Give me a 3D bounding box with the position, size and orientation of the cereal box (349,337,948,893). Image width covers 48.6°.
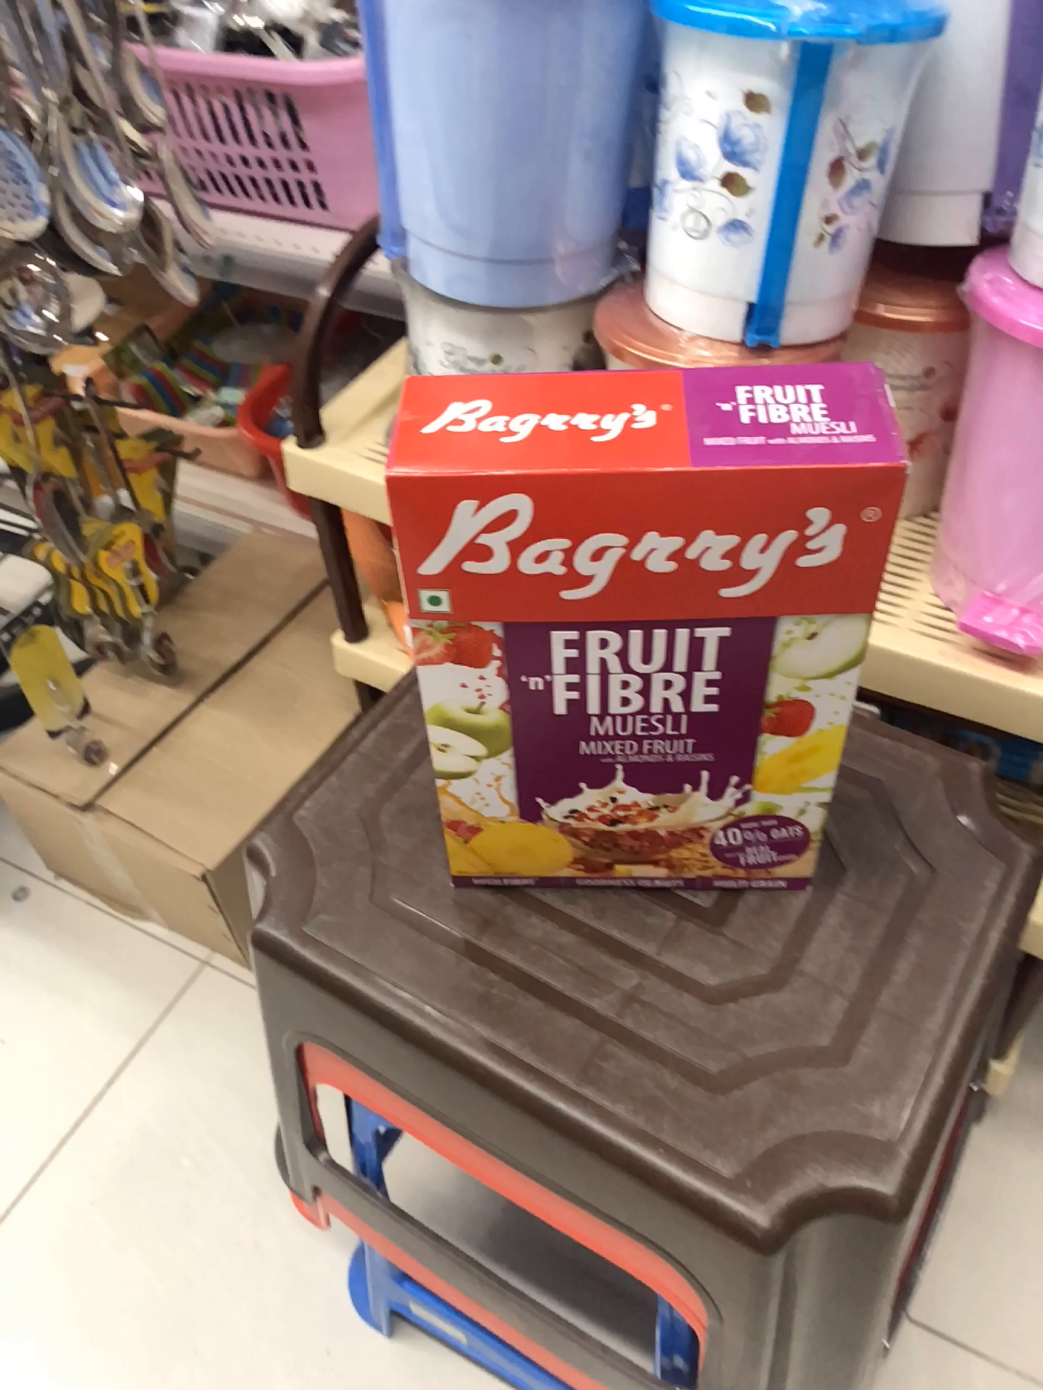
[{"bbox_3d":[0.049,-0.018,0.506,0.200,0.259,0.070,0,46,4],"label":"cereal box"}]
